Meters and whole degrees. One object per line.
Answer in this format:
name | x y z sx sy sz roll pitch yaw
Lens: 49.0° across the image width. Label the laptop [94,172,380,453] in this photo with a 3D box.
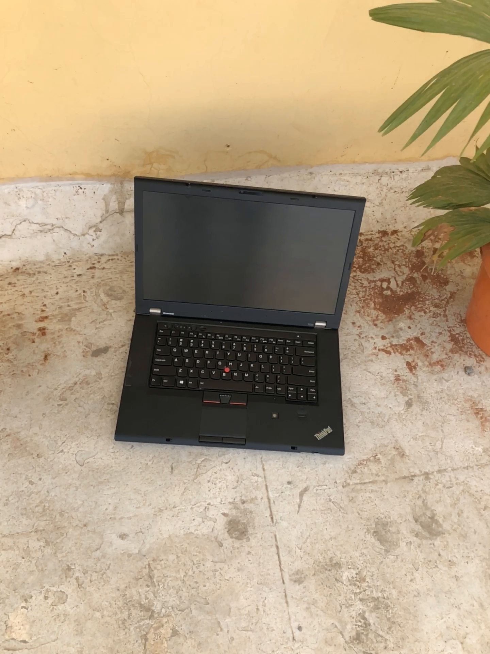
laptop | -0.006 -0.020 0.850 0.360 0.208 0.353 4 61 -2
